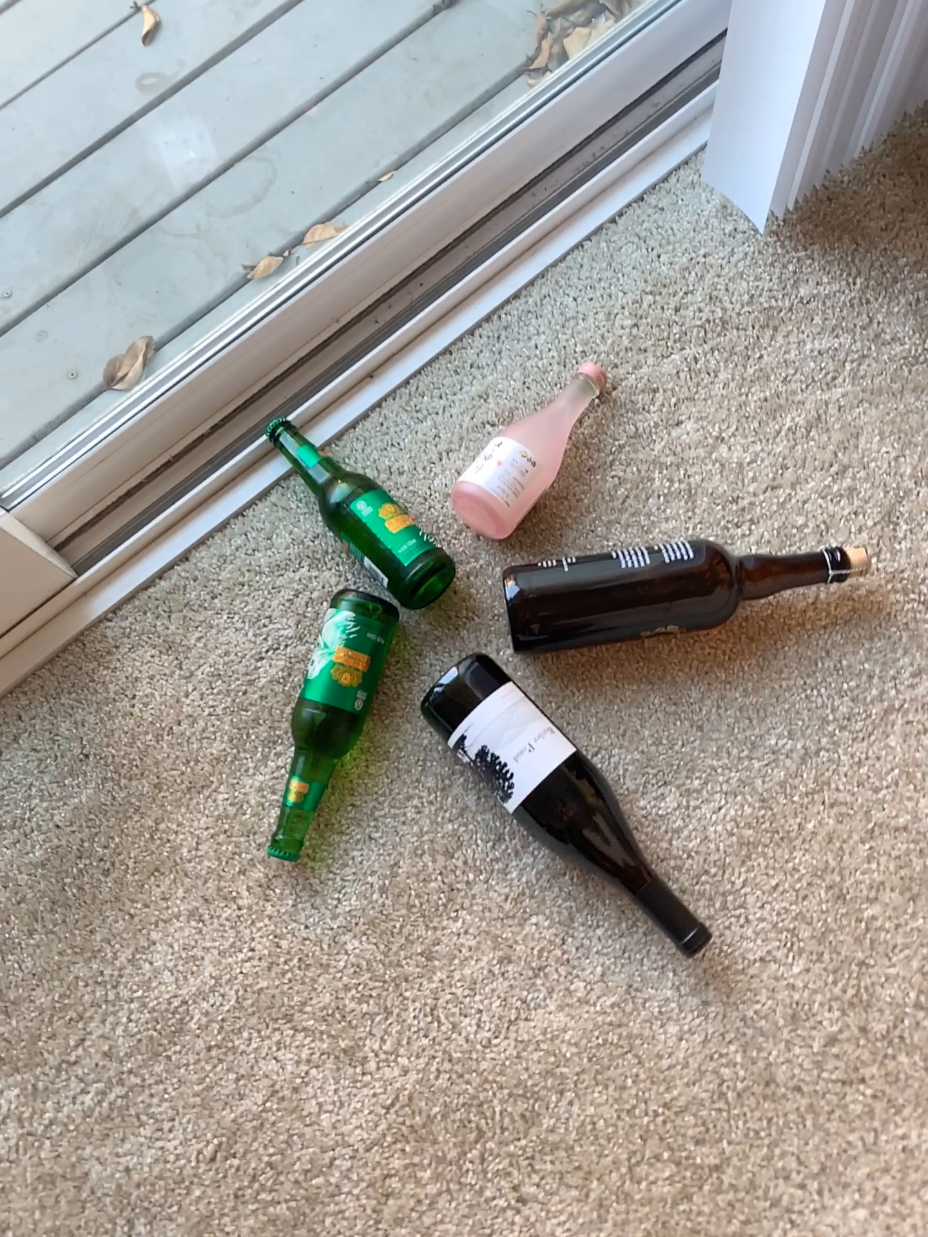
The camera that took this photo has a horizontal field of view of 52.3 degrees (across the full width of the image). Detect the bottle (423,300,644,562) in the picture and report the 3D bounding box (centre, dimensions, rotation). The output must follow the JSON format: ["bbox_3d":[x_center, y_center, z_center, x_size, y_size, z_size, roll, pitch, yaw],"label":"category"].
[{"bbox_3d":[0.063,-0.159,0.812,0.070,0.090,0.200,38,80,16],"label":"bottle"}]

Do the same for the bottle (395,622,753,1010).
[{"bbox_3d":[0.076,0.144,0.717,0.070,0.090,0.301,-40,72,-6],"label":"bottle"}]

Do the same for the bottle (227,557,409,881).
[{"bbox_3d":[-0.111,0.082,0.763,0.060,0.090,0.240,12,74,10],"label":"bottle"}]

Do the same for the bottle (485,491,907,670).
[{"bbox_3d":[0.179,-0.027,0.771,0.310,0.090,0.070,-9,72,4],"label":"bottle"}]

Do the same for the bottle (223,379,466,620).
[{"bbox_3d":[-0.105,-0.106,0.839,0.230,0.080,0.060,42,82,17],"label":"bottle"}]
